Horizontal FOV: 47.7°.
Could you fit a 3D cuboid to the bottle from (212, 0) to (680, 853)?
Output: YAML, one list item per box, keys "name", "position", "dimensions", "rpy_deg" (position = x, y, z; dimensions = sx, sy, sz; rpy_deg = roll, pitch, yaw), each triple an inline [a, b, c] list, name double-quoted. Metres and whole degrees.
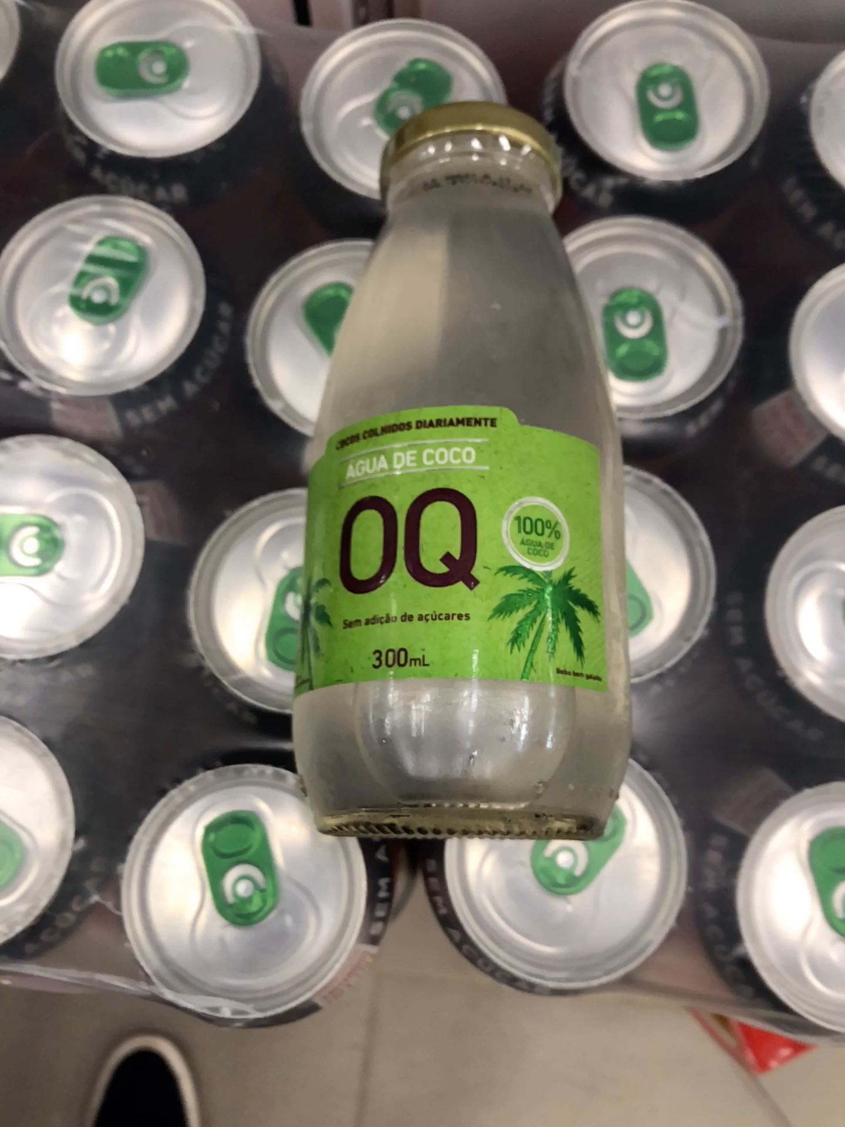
- name: "bottle"
  position: [0.006, -0.022, 0.194]
  dimensions: [0.070, 0.060, 0.150]
  rpy_deg: [-7, 73, 18]
